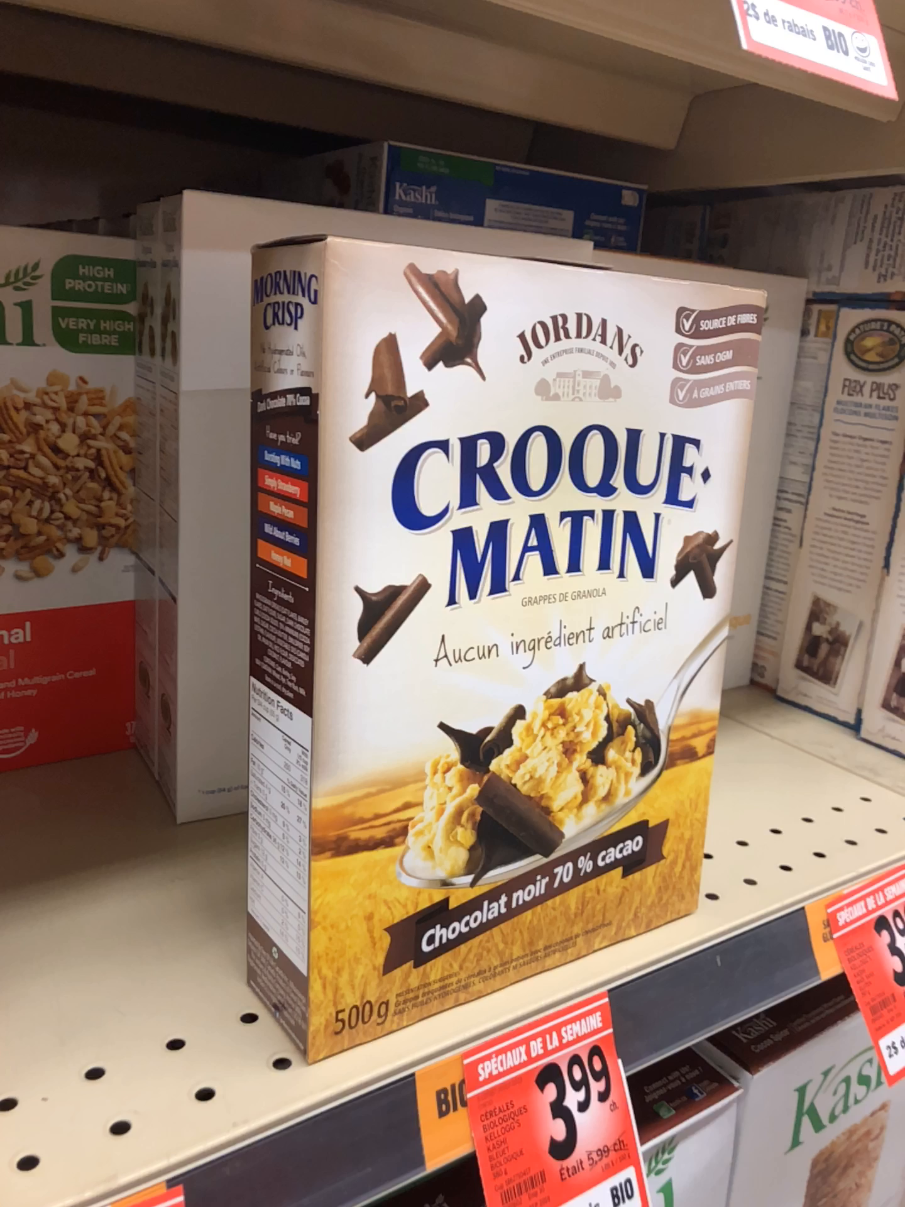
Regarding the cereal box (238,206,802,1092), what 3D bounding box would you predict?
[{"bbox_3d":[0.026,0.009,0.345,0.190,0.249,0.050,-6,15,-35],"label":"cereal box"}]
